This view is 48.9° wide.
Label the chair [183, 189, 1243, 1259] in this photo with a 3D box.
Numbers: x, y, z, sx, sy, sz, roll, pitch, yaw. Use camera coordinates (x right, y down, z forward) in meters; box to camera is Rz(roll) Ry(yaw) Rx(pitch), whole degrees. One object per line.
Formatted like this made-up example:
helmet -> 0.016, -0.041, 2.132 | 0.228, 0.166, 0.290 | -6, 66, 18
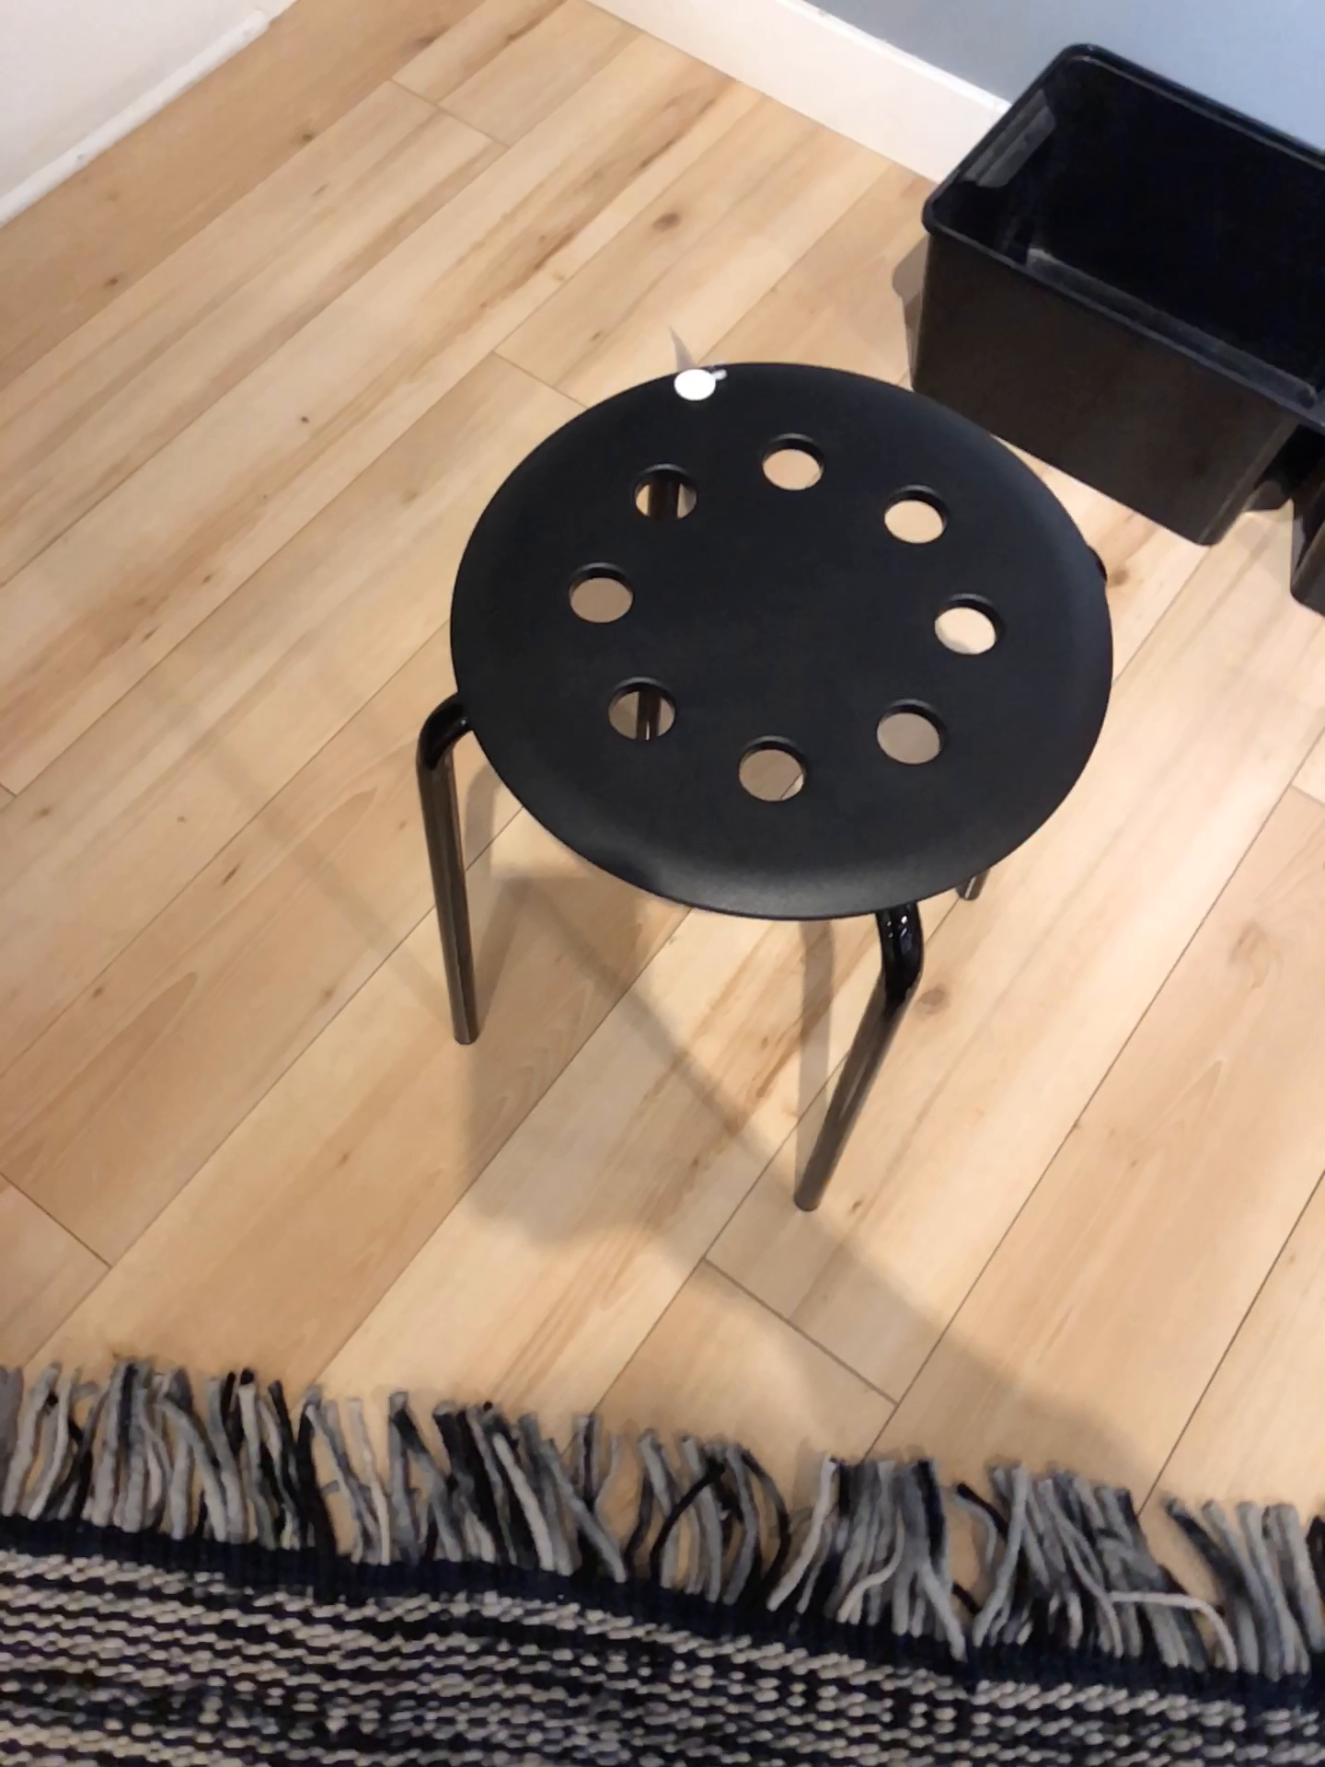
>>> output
chair -> 0.033, -0.069, 0.882 | 0.380, 0.400, 0.370 | 27, 67, 11
